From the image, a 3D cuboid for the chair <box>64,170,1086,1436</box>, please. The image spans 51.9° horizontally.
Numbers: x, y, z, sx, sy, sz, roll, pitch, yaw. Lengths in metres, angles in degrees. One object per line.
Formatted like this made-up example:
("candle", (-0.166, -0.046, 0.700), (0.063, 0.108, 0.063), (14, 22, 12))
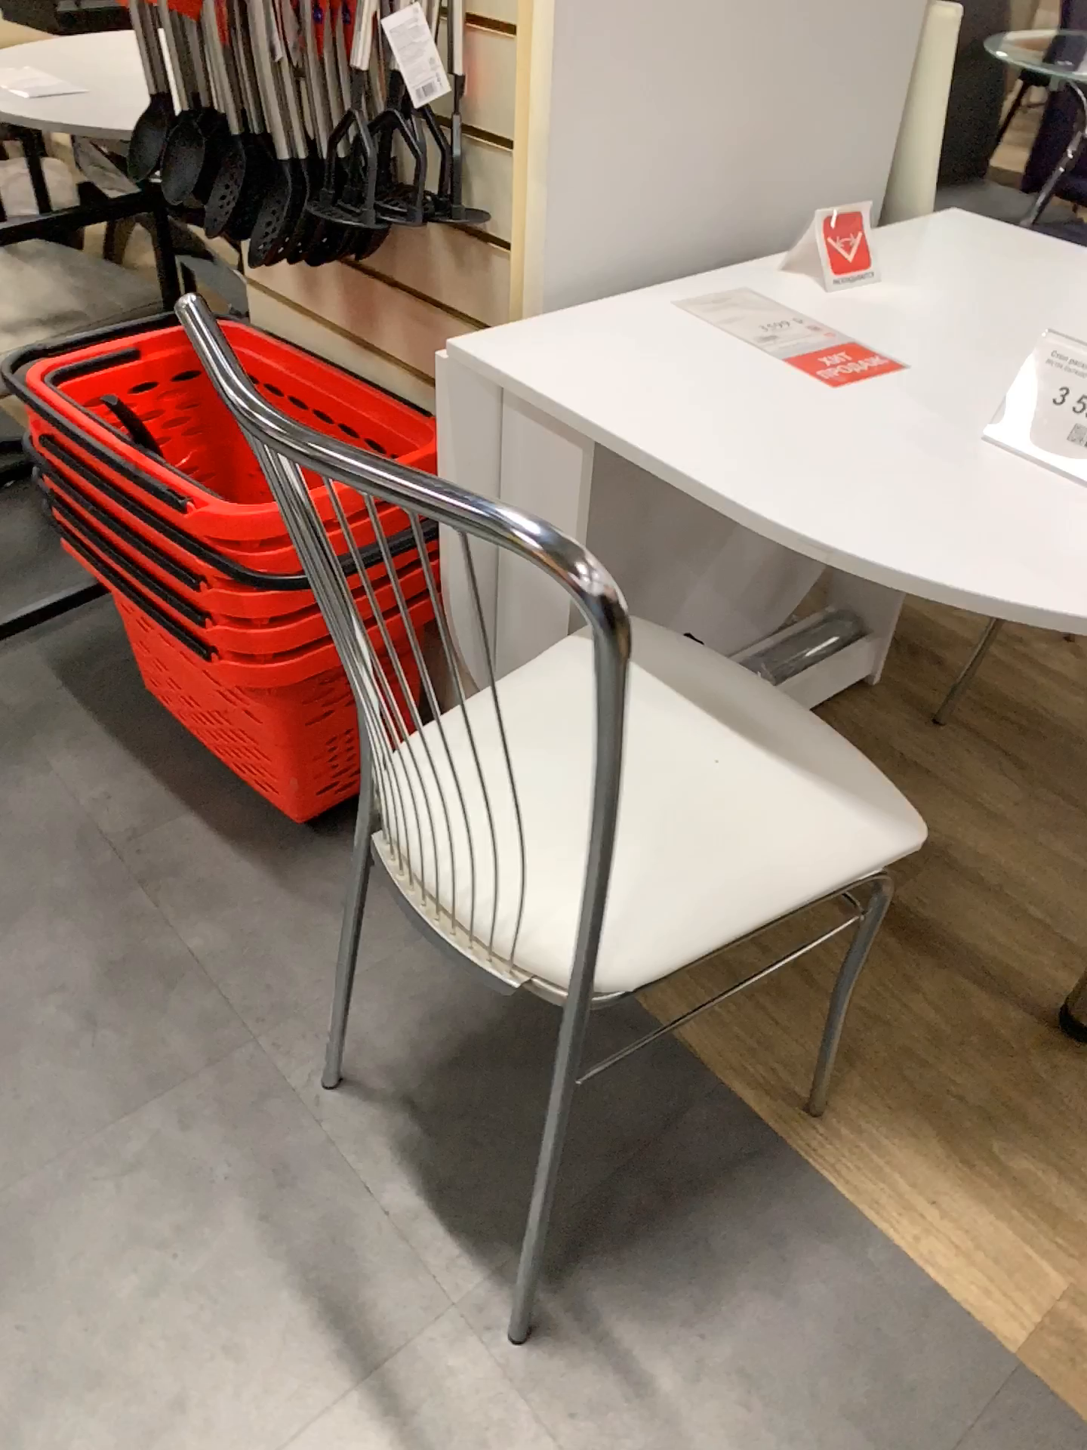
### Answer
("chair", (0.028, 0.092, 1.038), (0.552, 0.955, 0.451), (-28, 49, -32))
